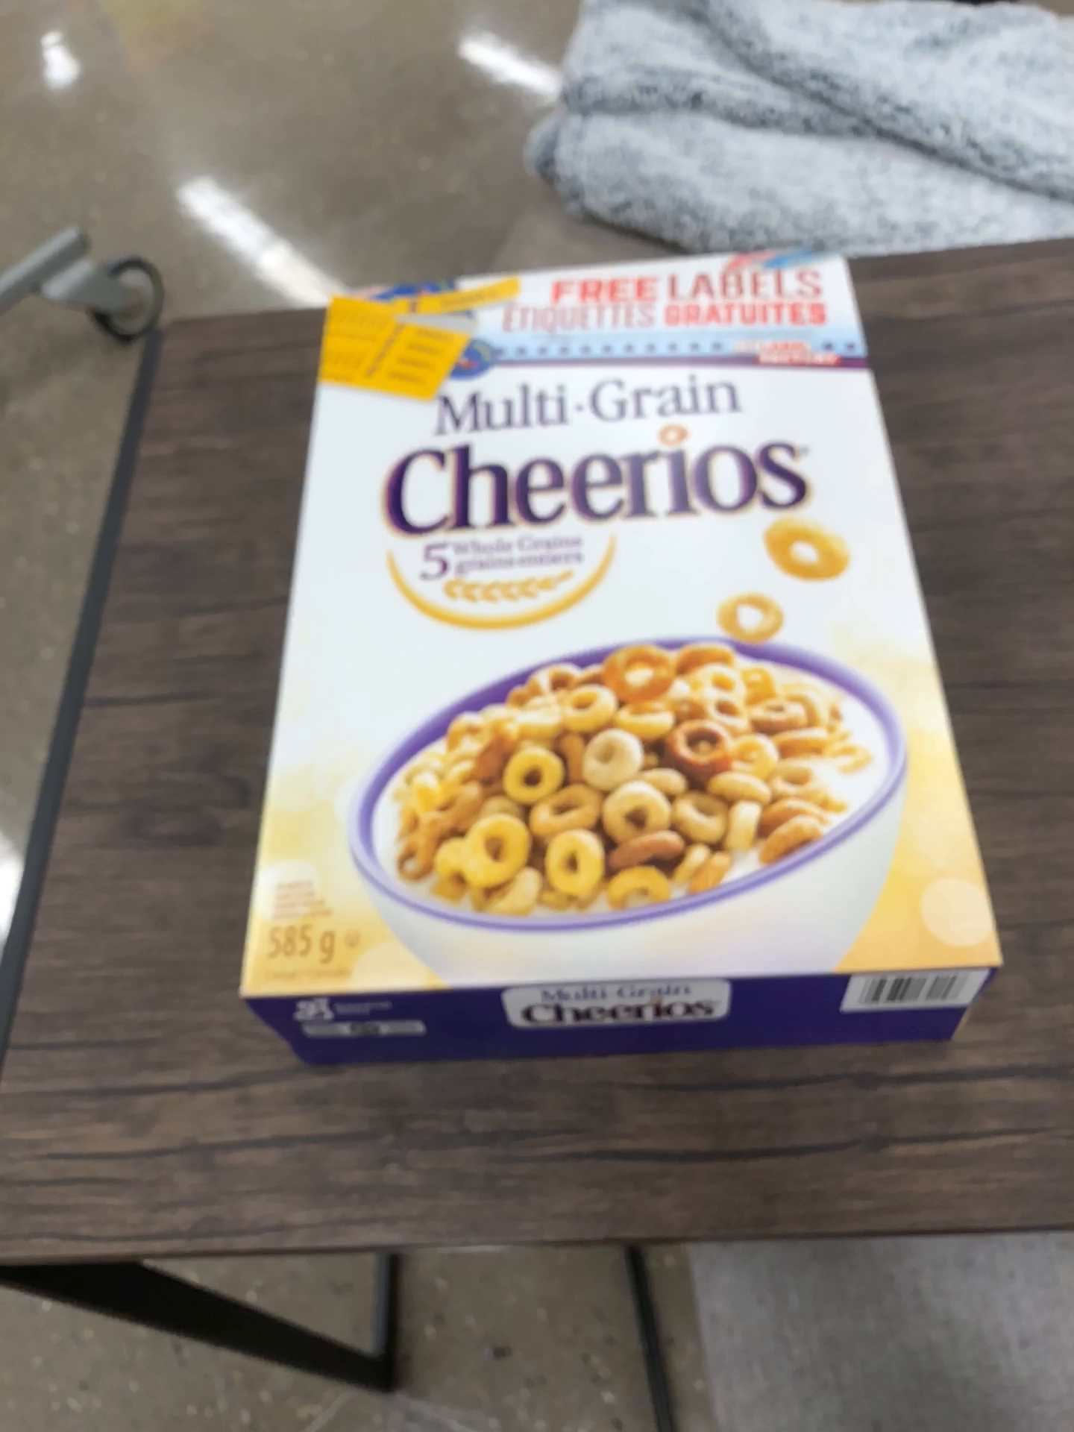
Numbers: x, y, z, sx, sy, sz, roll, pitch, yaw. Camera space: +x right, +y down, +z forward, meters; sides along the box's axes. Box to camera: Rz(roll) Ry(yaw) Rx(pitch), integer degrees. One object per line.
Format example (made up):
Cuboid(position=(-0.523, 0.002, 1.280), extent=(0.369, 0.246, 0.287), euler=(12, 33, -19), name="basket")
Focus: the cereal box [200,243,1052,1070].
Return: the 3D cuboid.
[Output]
Cuboid(position=(0.027, -0.043, 0.480), extent=(0.250, 0.070, 0.341), euler=(-3, 56, 5), name="cereal box")
